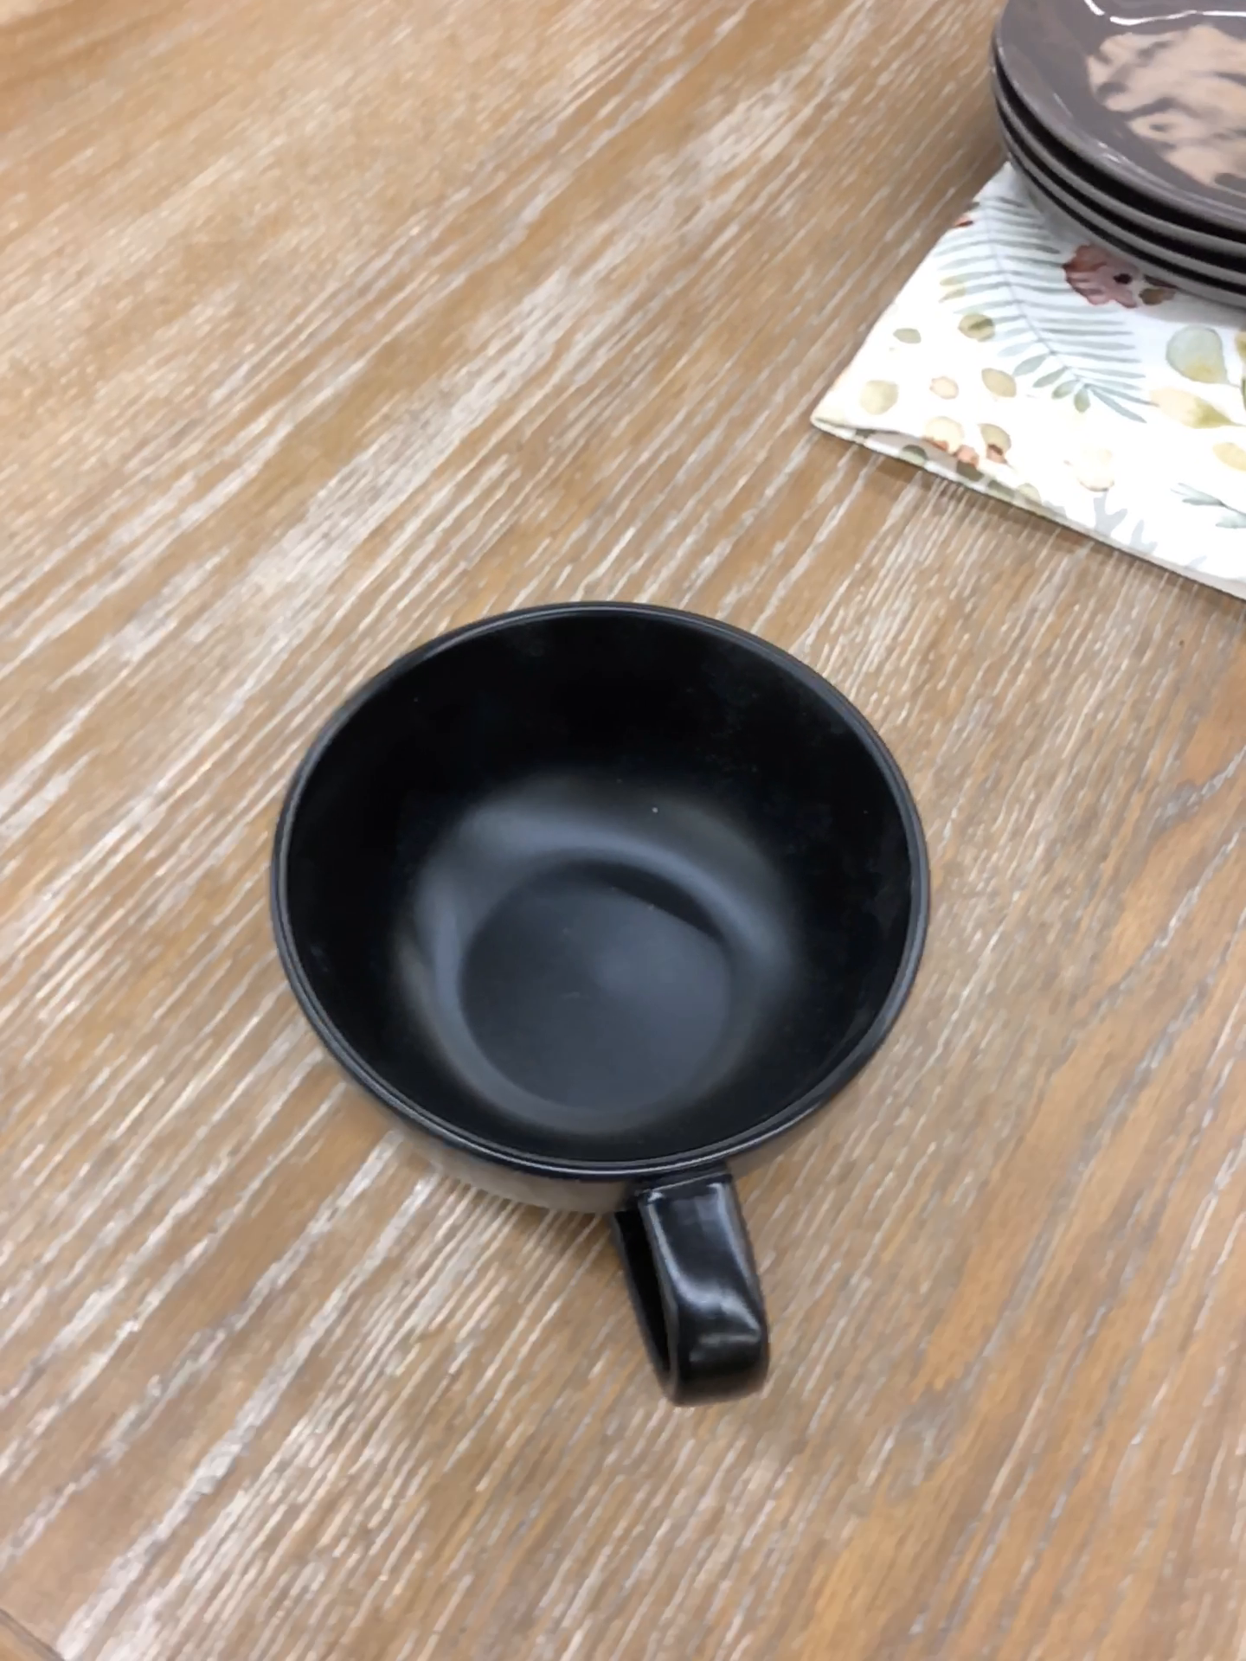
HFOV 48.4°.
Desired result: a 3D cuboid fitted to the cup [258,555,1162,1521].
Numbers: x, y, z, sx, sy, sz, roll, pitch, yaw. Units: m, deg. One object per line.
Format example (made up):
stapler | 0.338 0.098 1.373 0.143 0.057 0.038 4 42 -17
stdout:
cup | 0.004 0.032 0.295 0.137 0.054 0.175 -10 57 -9
